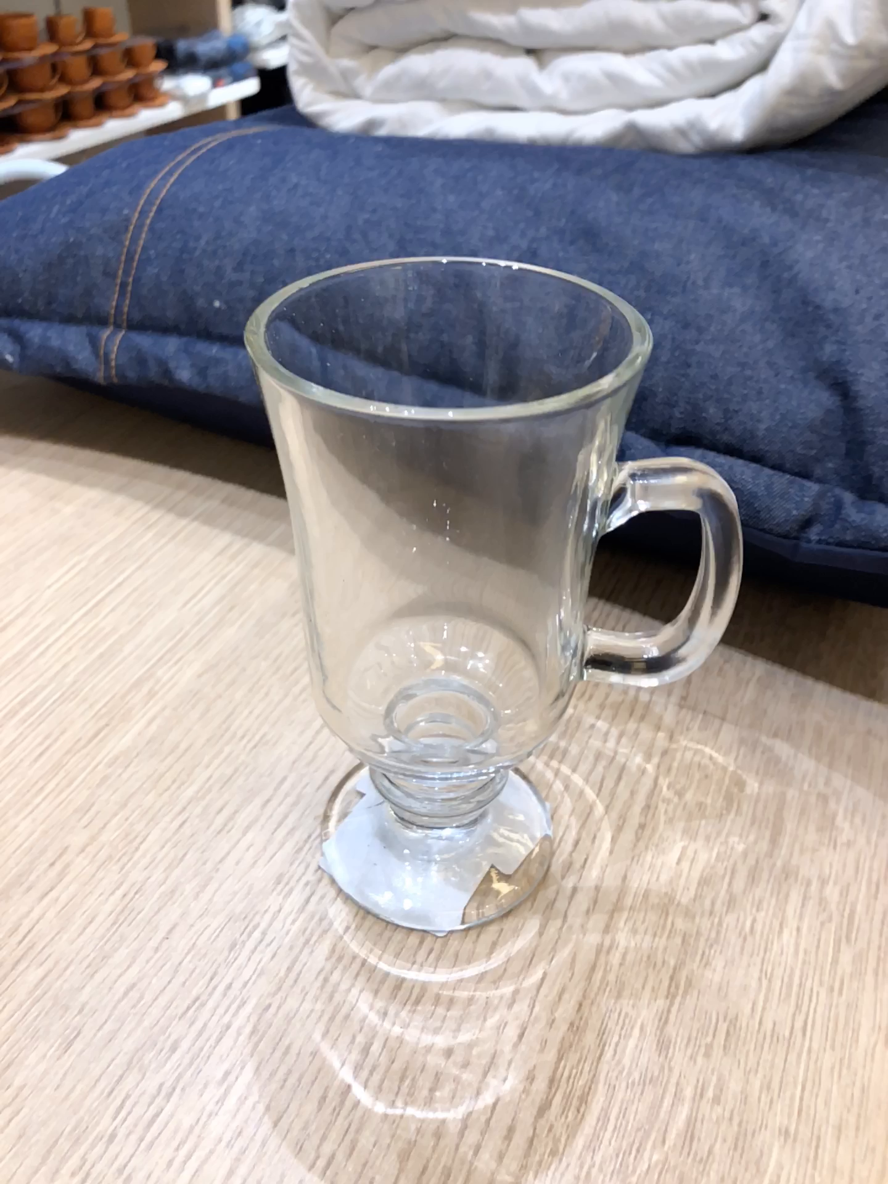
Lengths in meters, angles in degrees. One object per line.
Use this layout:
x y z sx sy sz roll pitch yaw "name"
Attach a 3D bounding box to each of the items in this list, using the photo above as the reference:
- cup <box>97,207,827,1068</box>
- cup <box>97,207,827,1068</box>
0.009 0.009 0.224 0.110 0.149 0.091 13 38 14 "cup"
0.009 0.009 0.224 0.110 0.149 0.091 13 38 14 "cup"
